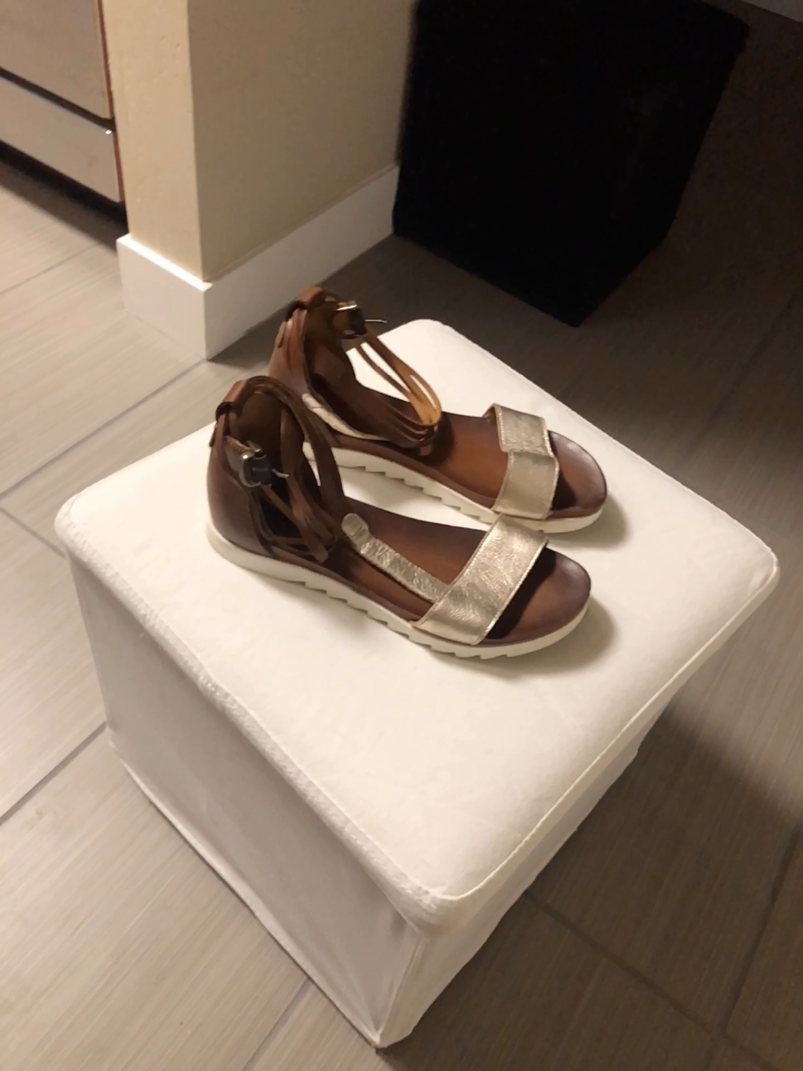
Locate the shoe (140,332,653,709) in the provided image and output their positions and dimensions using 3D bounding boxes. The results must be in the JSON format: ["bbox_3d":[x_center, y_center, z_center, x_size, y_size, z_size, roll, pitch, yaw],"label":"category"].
[{"bbox_3d":[-0.003,-0.012,0.518,0.260,0.090,0.110,19,50,6],"label":"shoe"}]

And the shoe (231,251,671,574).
[{"bbox_3d":[0.030,-0.085,0.593,0.260,0.090,0.110,19,50,6],"label":"shoe"}]
